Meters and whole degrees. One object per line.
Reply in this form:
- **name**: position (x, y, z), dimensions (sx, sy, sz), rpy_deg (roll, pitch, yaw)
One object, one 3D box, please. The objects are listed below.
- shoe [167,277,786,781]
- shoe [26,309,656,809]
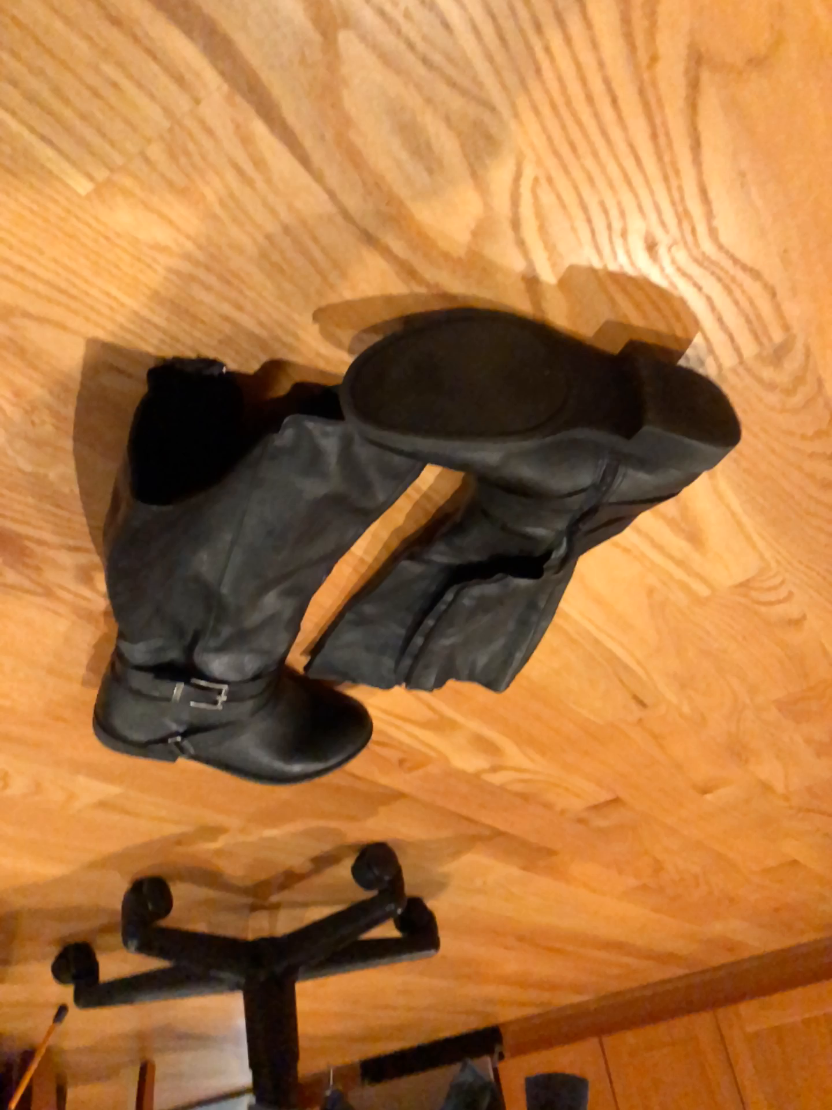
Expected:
- **shoe**: position (0.005, 0.028, 0.623), dimensions (0.251, 0.094, 0.394), rpy_deg (8, 141, -27)
- **shoe**: position (-0.086, 0.051, 0.631), dimensions (0.291, 0.104, 0.404), rpy_deg (7, 143, -26)
